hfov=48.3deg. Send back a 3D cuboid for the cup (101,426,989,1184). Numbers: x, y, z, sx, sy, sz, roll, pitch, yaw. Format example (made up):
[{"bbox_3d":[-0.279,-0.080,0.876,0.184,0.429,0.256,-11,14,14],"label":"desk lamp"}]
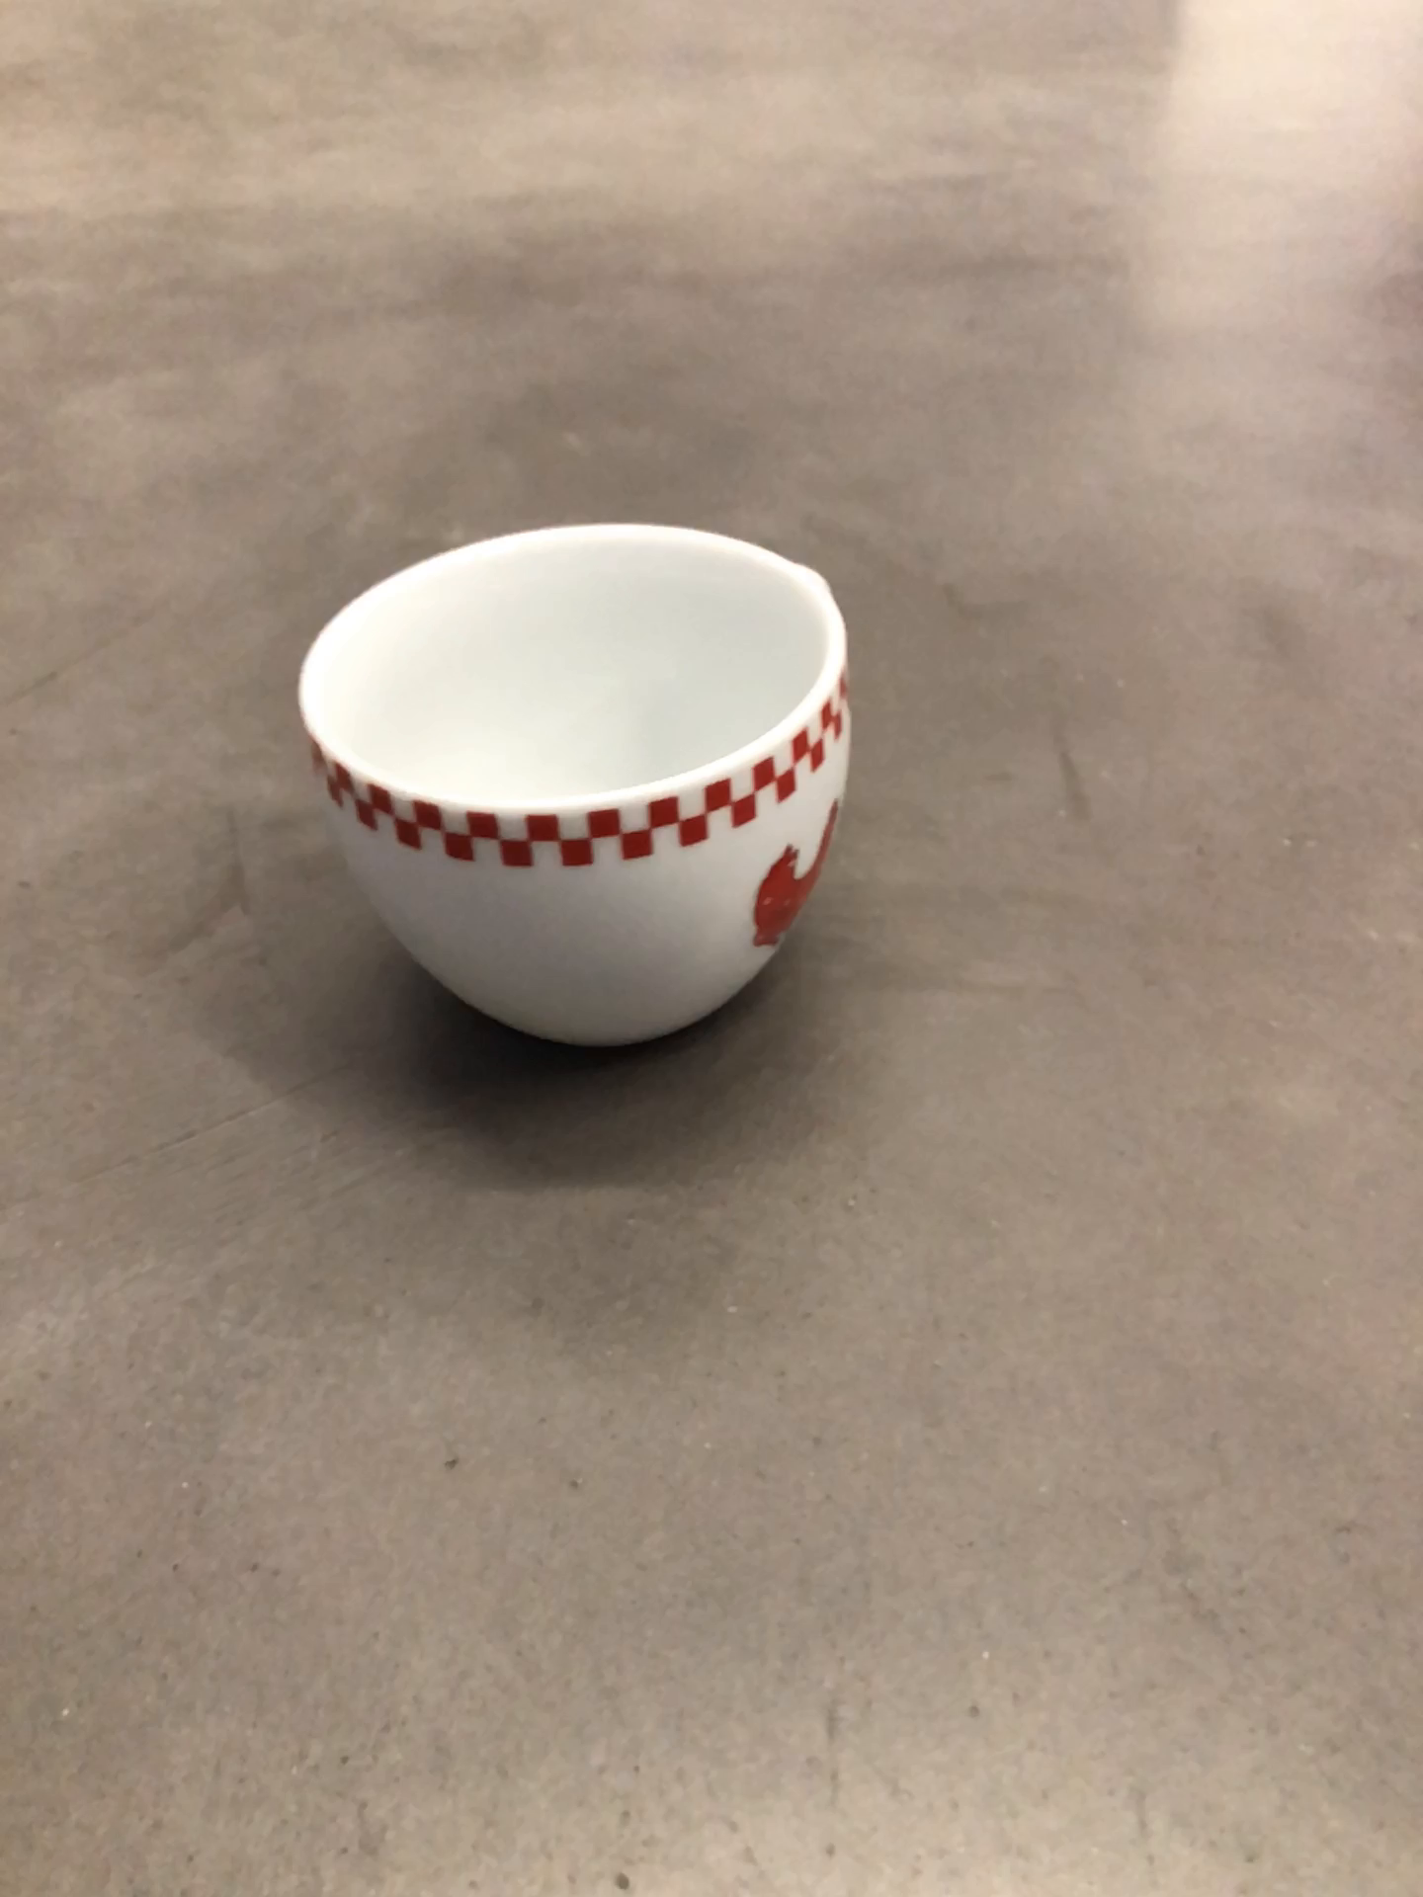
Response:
[{"bbox_3d":[-0.021,-0.033,0.266,0.088,0.058,0.111,22,46,31],"label":"cup"}]
